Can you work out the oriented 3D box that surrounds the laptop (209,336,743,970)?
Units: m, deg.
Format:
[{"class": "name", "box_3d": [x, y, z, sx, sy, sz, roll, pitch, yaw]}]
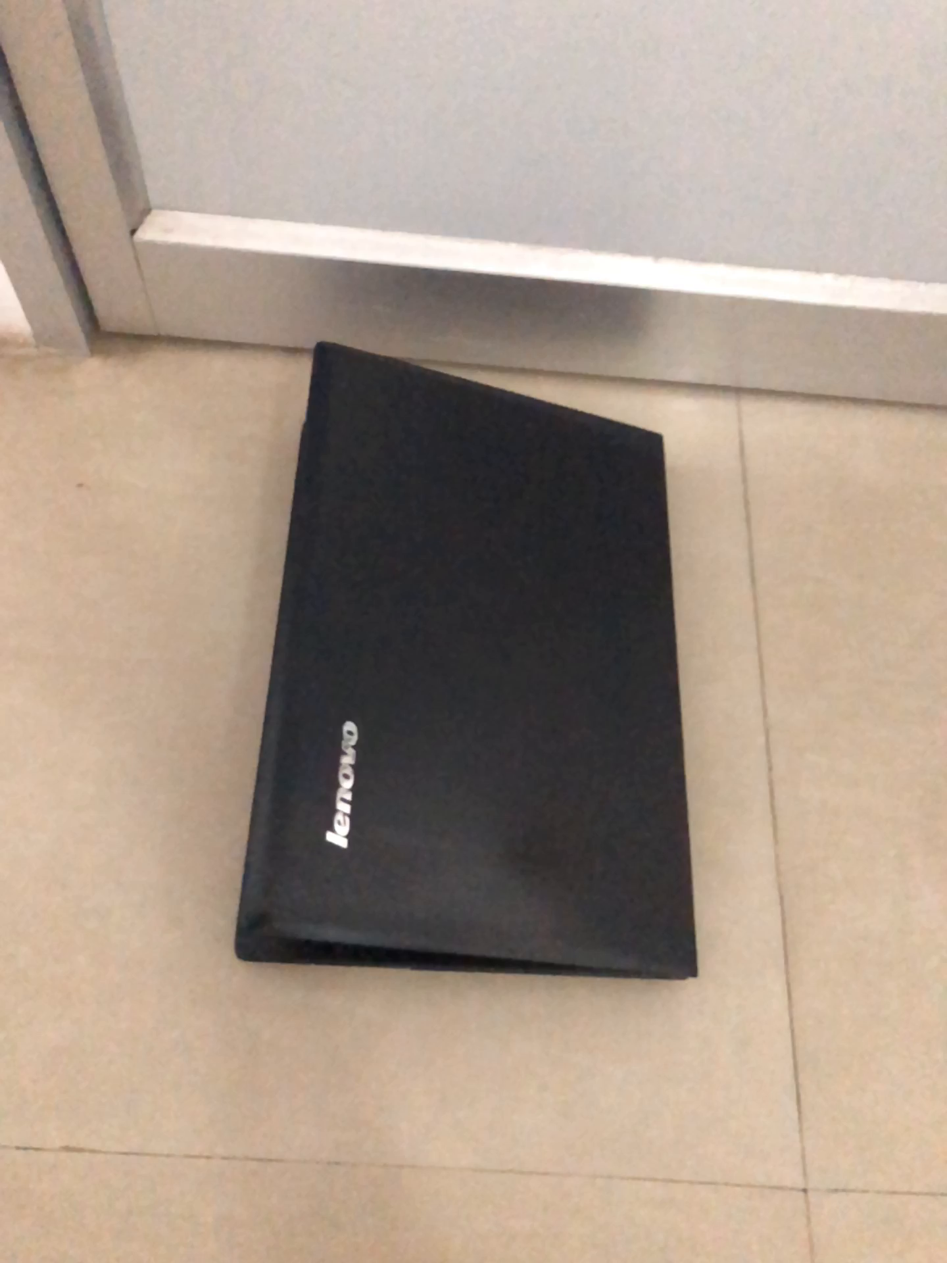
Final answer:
[{"class": "laptop", "box_3d": [0.005, 0.004, 0.630, 0.257, 0.097, 0.368, 3, 63, -4]}]
